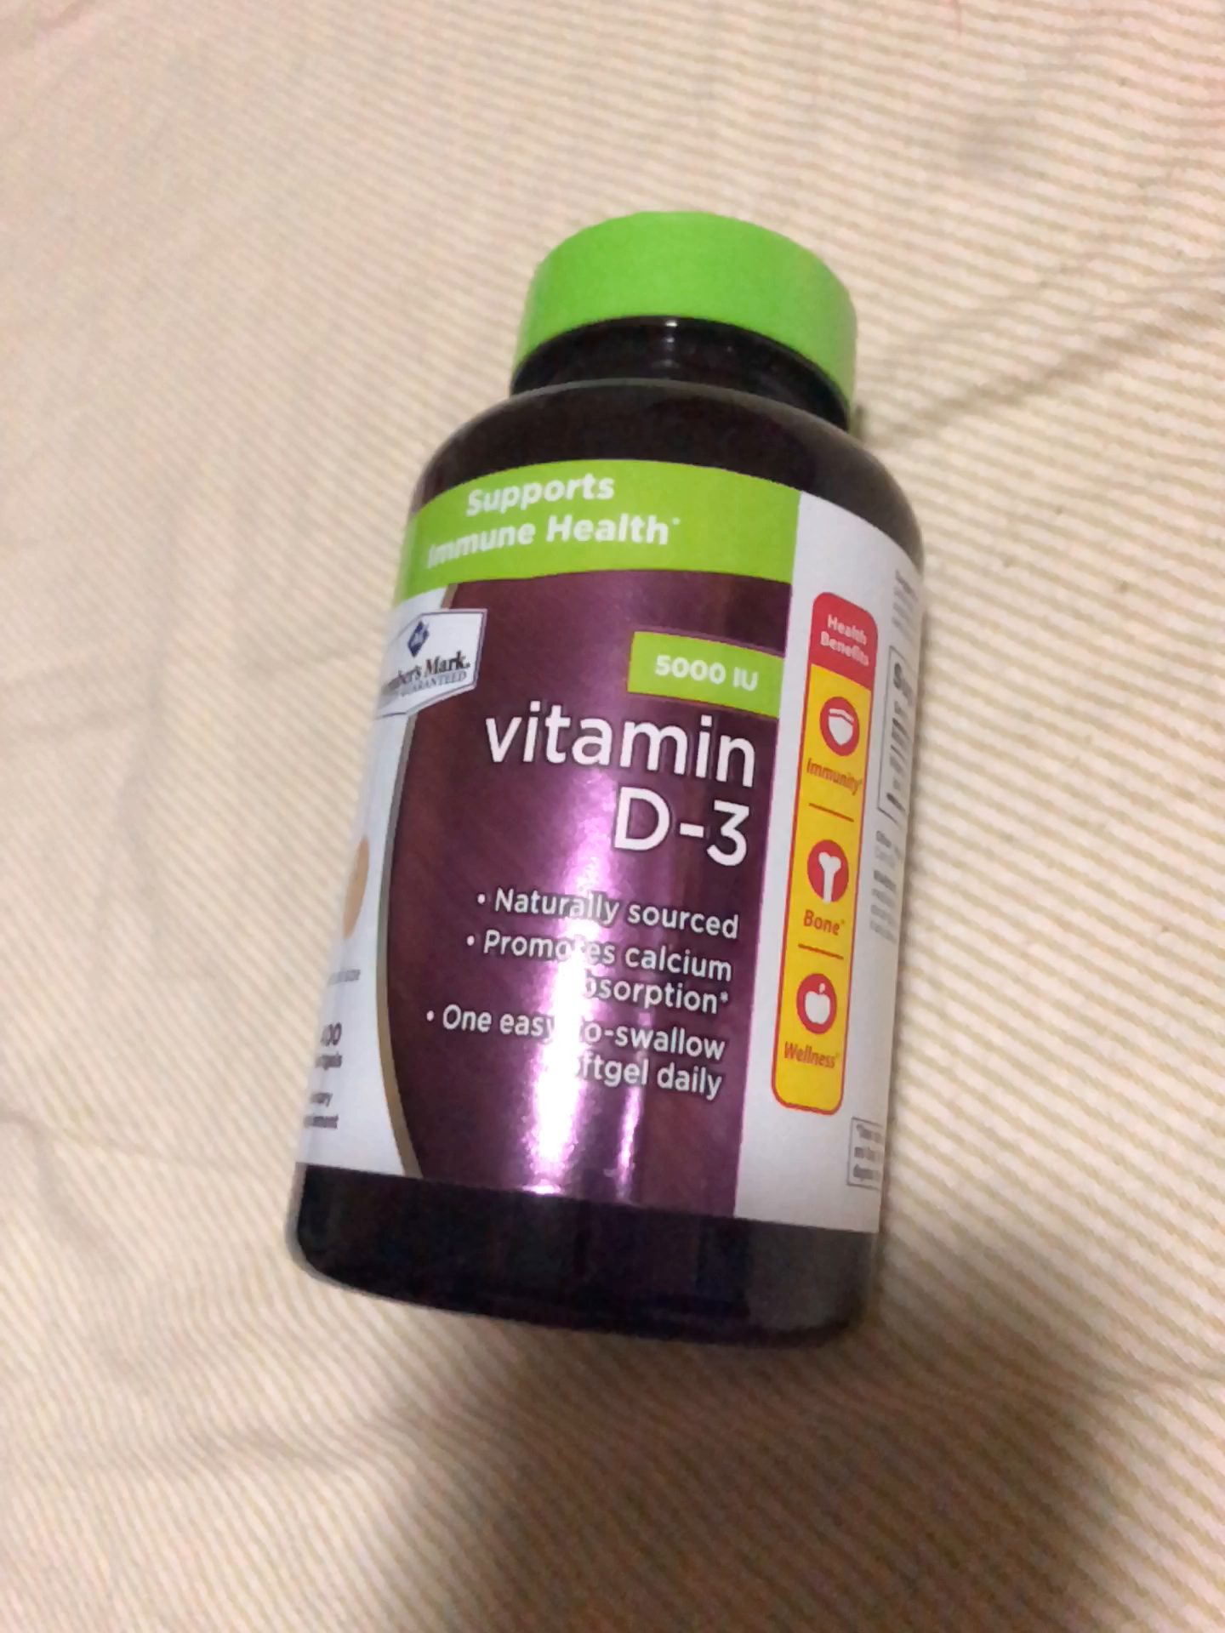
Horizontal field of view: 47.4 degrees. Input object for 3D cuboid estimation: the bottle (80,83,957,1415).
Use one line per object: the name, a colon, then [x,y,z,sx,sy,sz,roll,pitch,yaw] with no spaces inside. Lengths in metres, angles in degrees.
bottle: [-0.002,-0.003,0.148,0.060,0.060,0.110,-2,74,26]
